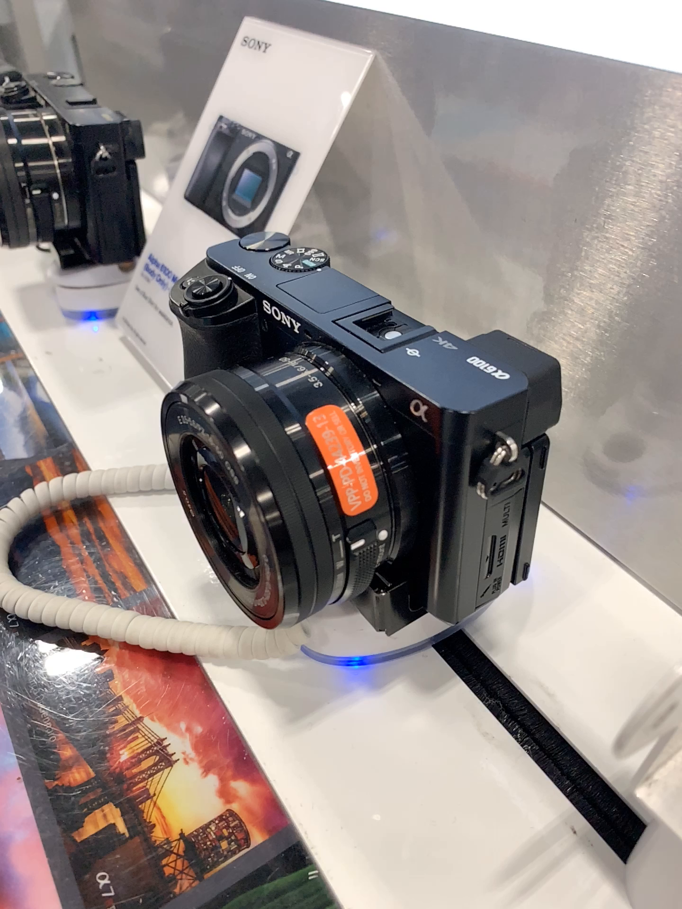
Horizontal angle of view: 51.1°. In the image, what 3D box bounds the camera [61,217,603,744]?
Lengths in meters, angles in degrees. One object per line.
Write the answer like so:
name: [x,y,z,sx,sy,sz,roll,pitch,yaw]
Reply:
camera: [-0.008,-0.004,0.194,0.070,0.070,0.121,-30,47,-28]
